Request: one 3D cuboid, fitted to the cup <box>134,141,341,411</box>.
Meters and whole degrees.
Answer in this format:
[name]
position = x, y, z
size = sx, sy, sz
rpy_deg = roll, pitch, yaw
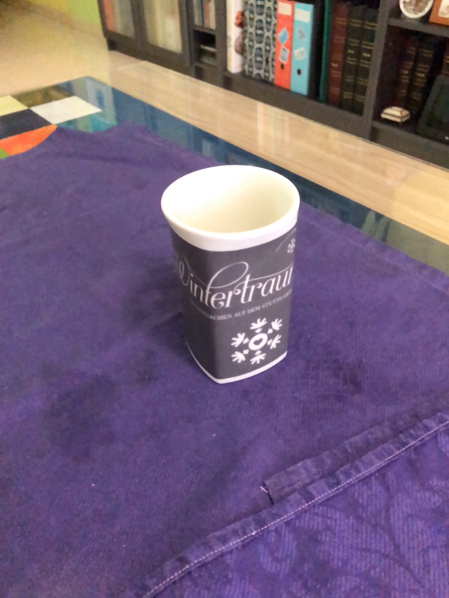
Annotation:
[cup]
position = 0.004, -0.017, 0.300
size = 0.070, 0.109, 0.100
rpy_deg = -20, 43, -19
